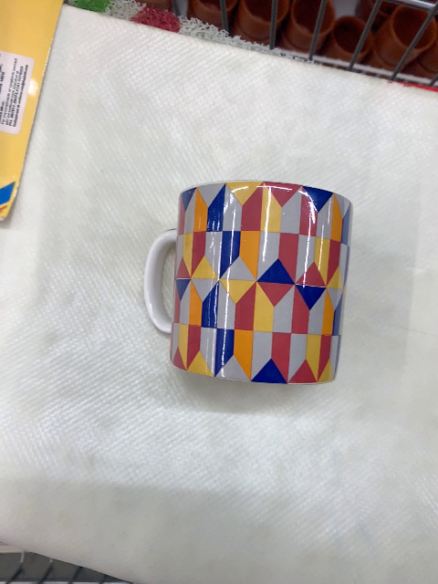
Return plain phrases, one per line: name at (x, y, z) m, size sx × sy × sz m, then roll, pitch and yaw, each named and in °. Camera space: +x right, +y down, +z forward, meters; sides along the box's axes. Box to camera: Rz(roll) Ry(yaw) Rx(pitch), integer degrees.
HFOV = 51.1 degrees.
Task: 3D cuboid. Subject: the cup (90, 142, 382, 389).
cup at (0.010, -0.011, 0.208) m, size 0.100 × 0.080 × 0.080 m, roll 5°, pitch 90°, yaw 31°
